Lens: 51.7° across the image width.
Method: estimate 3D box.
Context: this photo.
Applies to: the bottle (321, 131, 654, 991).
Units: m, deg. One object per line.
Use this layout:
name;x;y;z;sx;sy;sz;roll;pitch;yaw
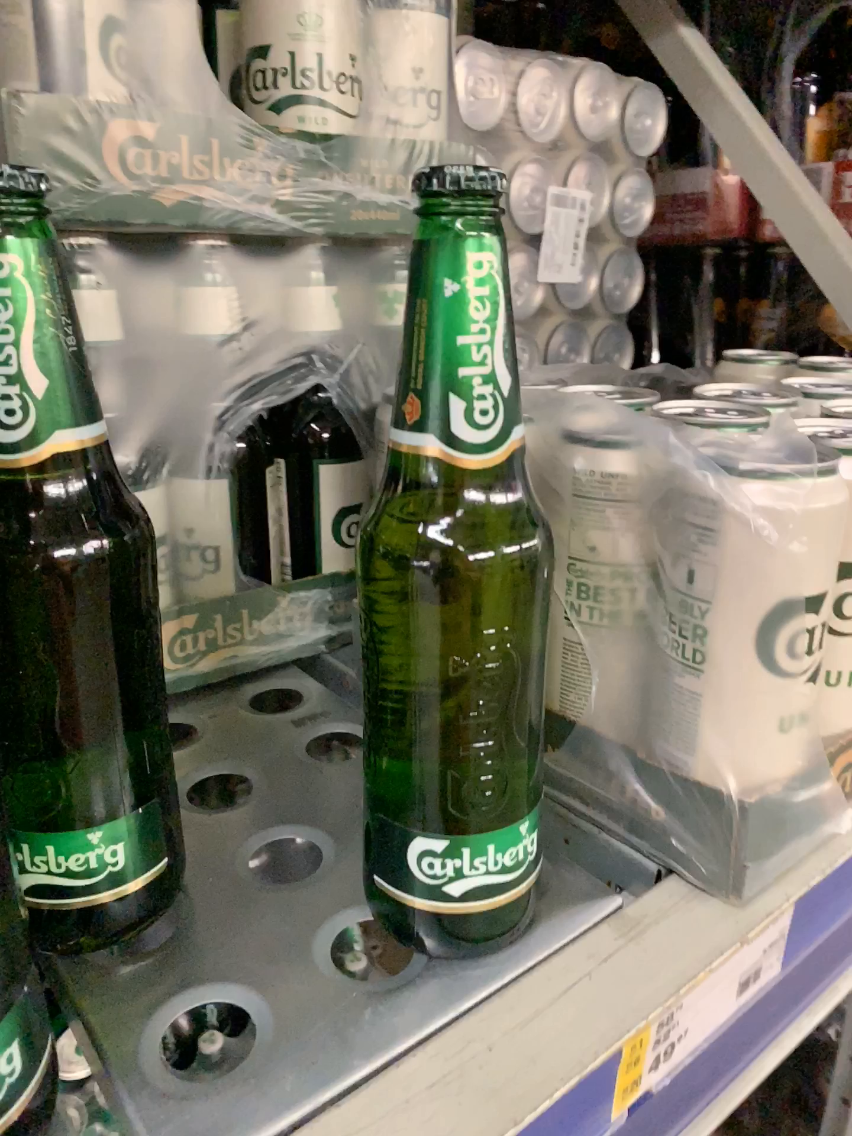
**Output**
bottle;0.014;0.003;0.284;0.072;0.249;0.060;-9;21;-27
